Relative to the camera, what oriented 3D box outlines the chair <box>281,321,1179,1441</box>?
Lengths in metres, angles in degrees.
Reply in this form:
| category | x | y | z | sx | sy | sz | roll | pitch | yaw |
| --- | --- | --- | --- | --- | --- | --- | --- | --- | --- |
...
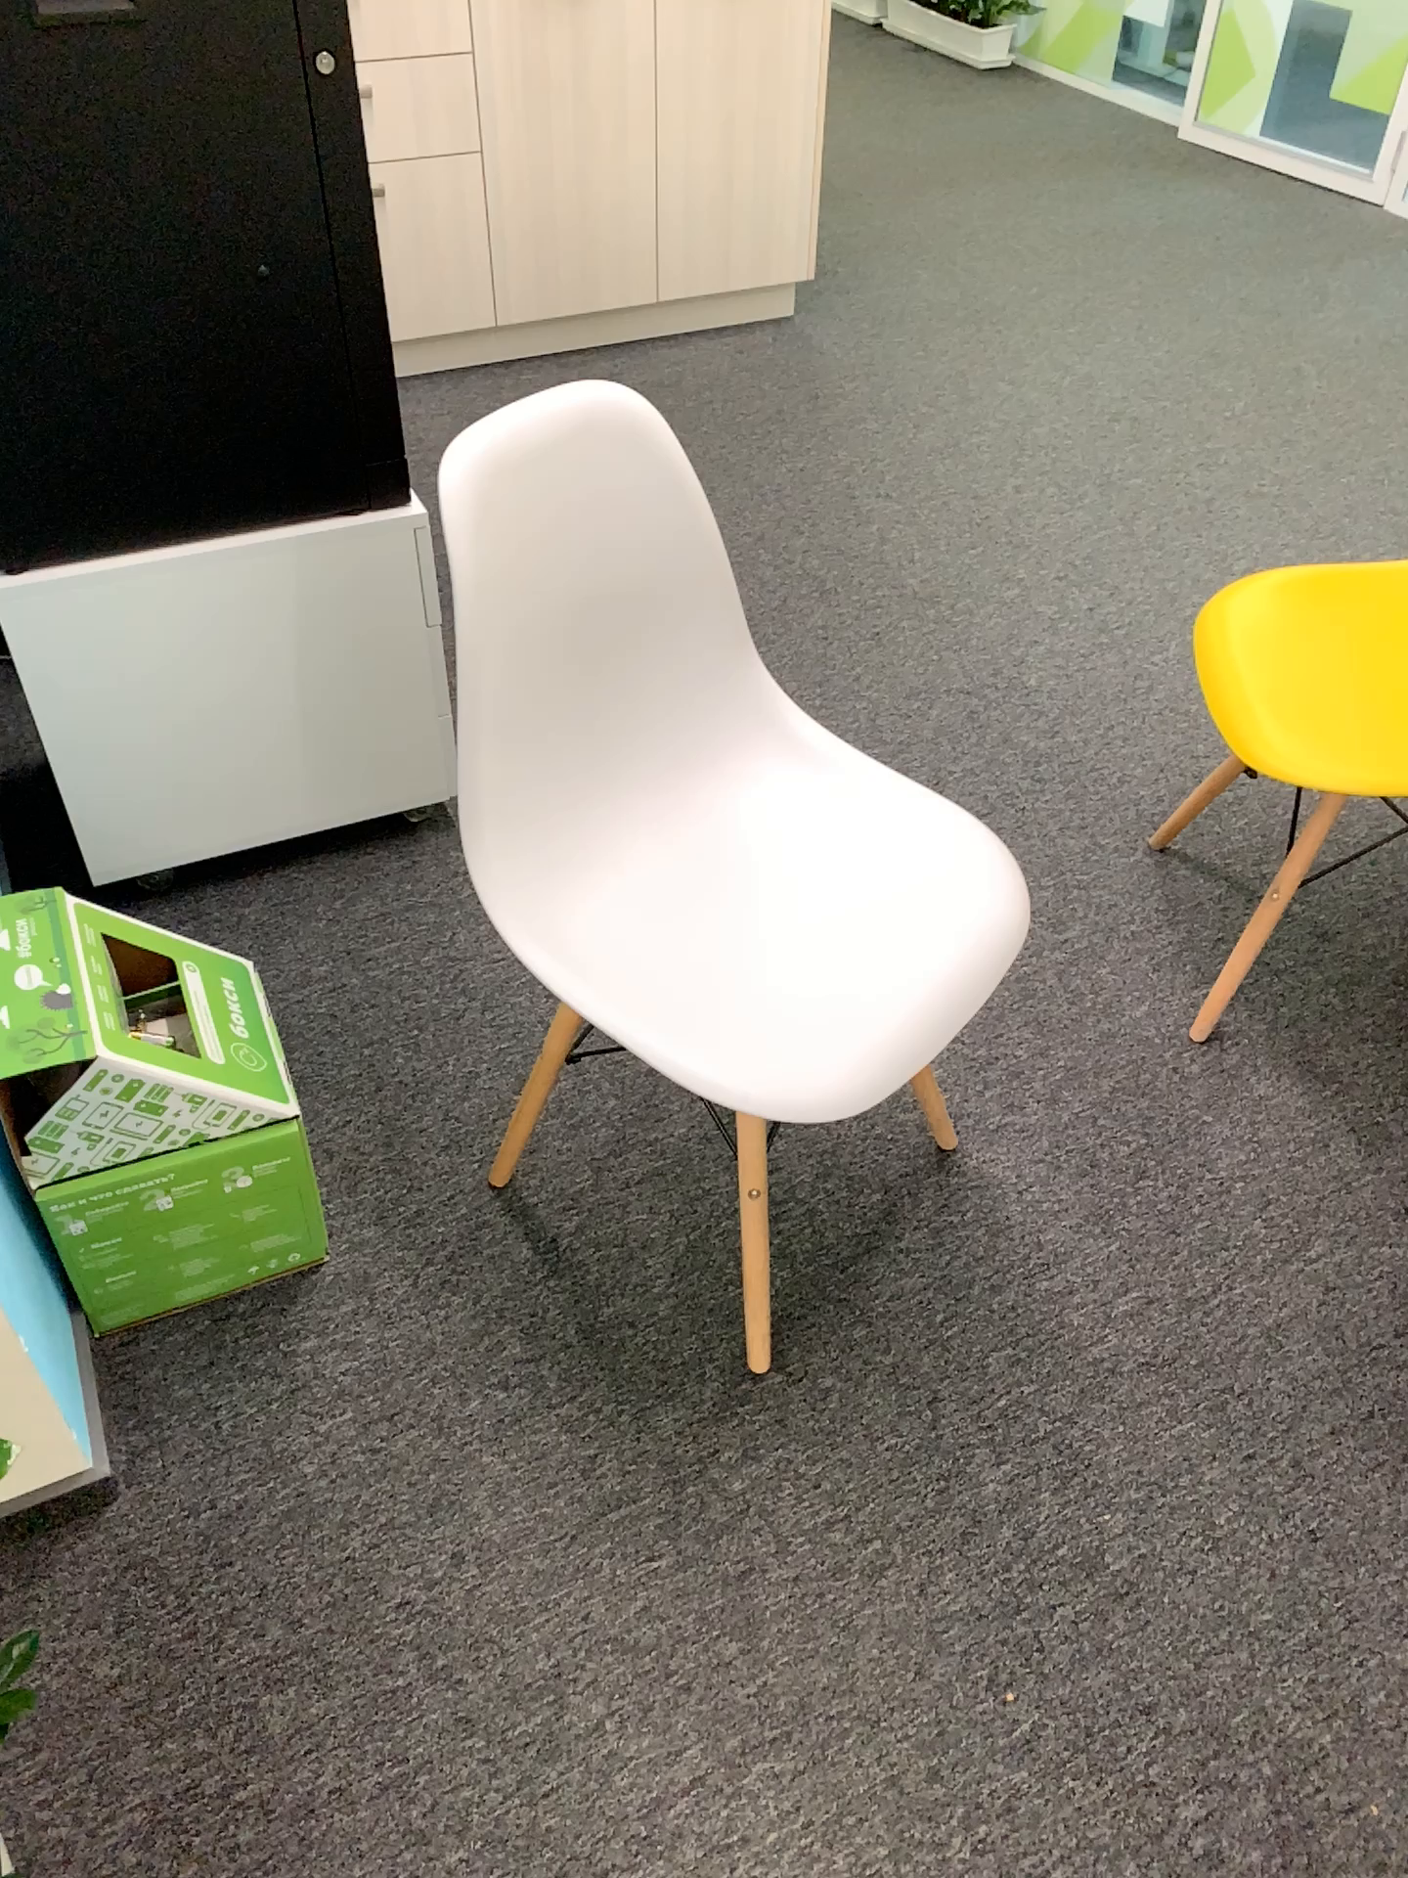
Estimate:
| category | x | y | z | sx | sy | sz | roll | pitch | yaw |
| --- | --- | --- | --- | --- | --- | --- | --- | --- | --- |
| chair | 0.018 | -0.043 | 1.360 | 0.501 | 0.816 | 0.462 | 29 | 50 | 27 |
